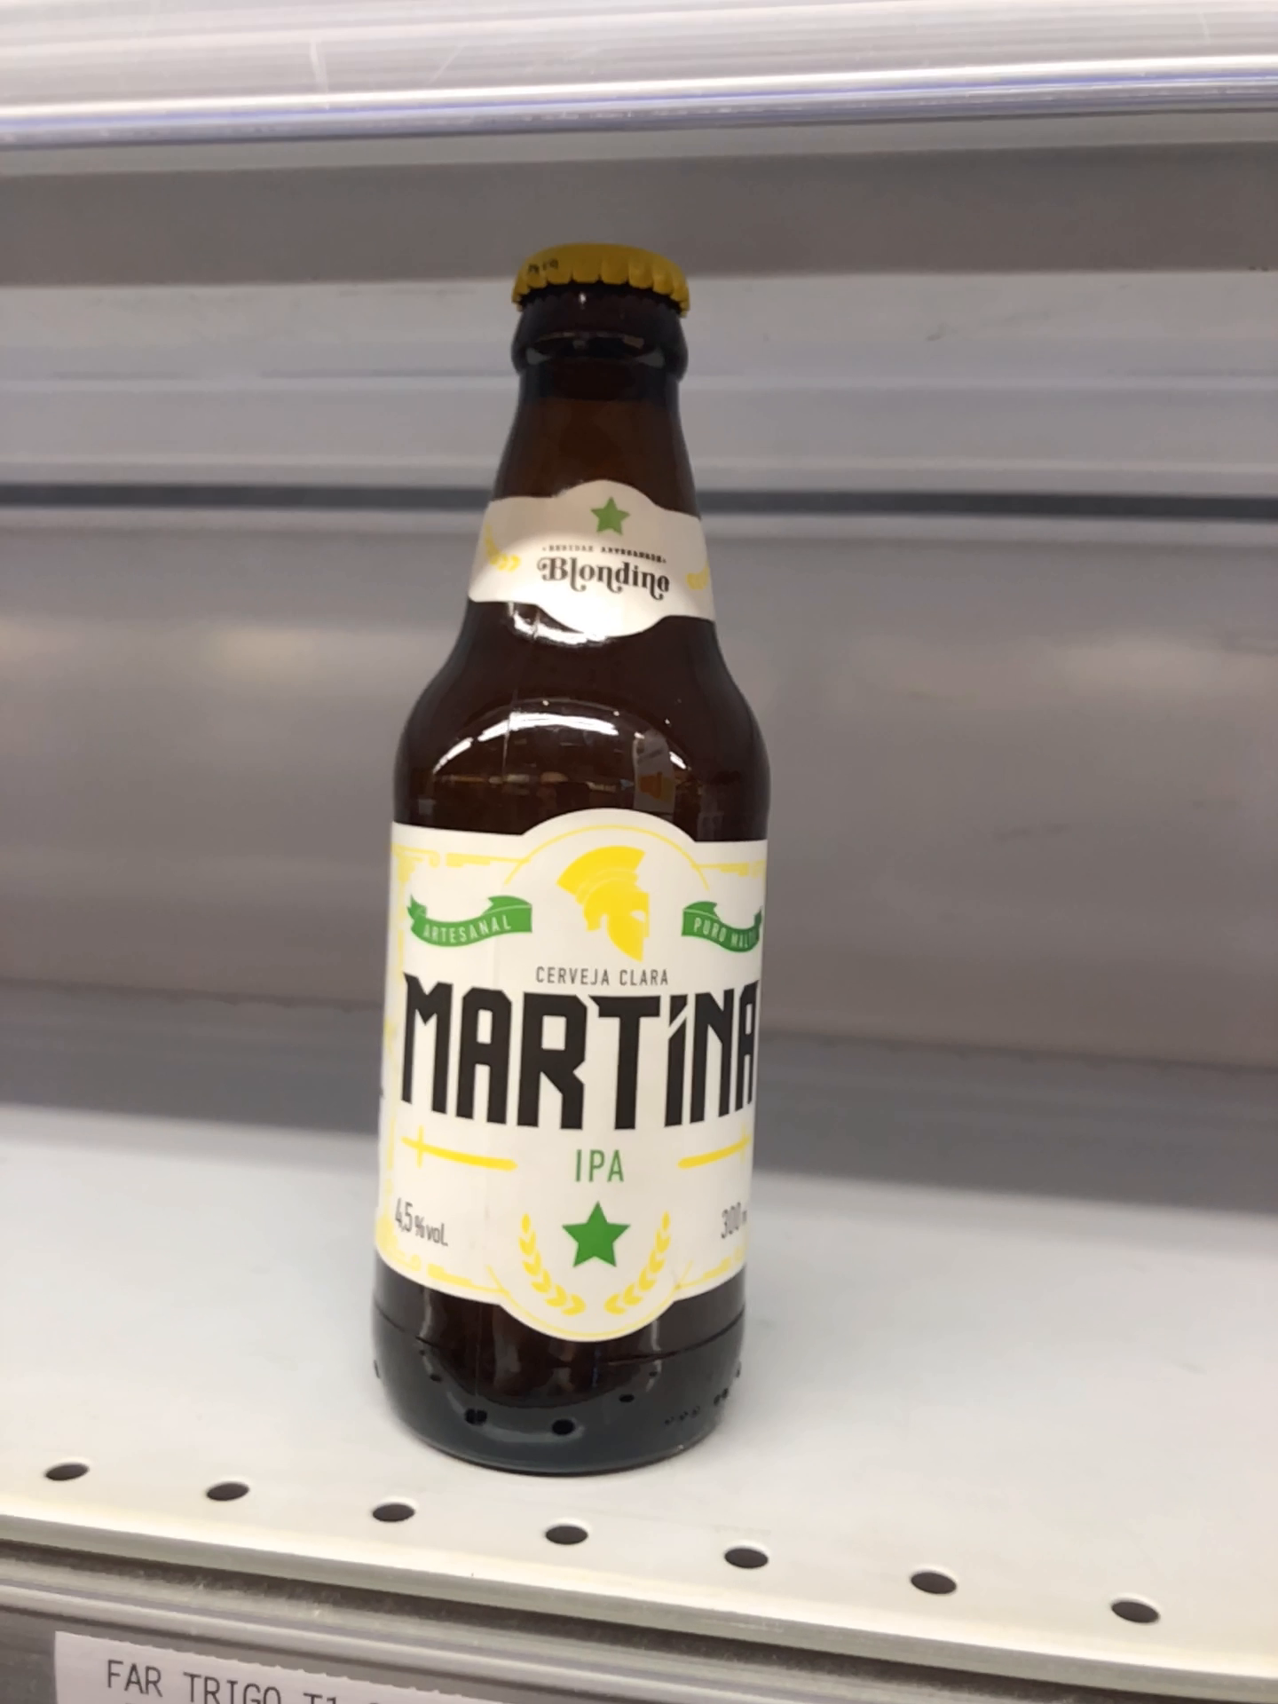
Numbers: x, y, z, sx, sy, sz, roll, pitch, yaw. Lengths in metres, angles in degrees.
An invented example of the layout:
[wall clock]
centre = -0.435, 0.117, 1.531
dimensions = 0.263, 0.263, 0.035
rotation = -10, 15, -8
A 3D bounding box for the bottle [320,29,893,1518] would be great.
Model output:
[bottle]
centre = -0.010, -0.009, 0.221
dimensions = 0.070, 0.190, 0.060
rotation = 1, 3, -15
